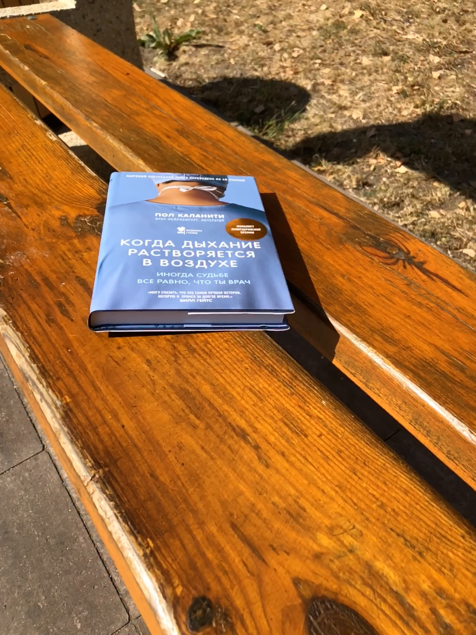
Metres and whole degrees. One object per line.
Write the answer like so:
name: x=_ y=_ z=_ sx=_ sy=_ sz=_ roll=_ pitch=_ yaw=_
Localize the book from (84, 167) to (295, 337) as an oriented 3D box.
book: x=-0.041 y=-0.065 z=0.438 sx=0.140 sy=0.025 sz=0.211 roll=0 pitch=41 yaw=-7
